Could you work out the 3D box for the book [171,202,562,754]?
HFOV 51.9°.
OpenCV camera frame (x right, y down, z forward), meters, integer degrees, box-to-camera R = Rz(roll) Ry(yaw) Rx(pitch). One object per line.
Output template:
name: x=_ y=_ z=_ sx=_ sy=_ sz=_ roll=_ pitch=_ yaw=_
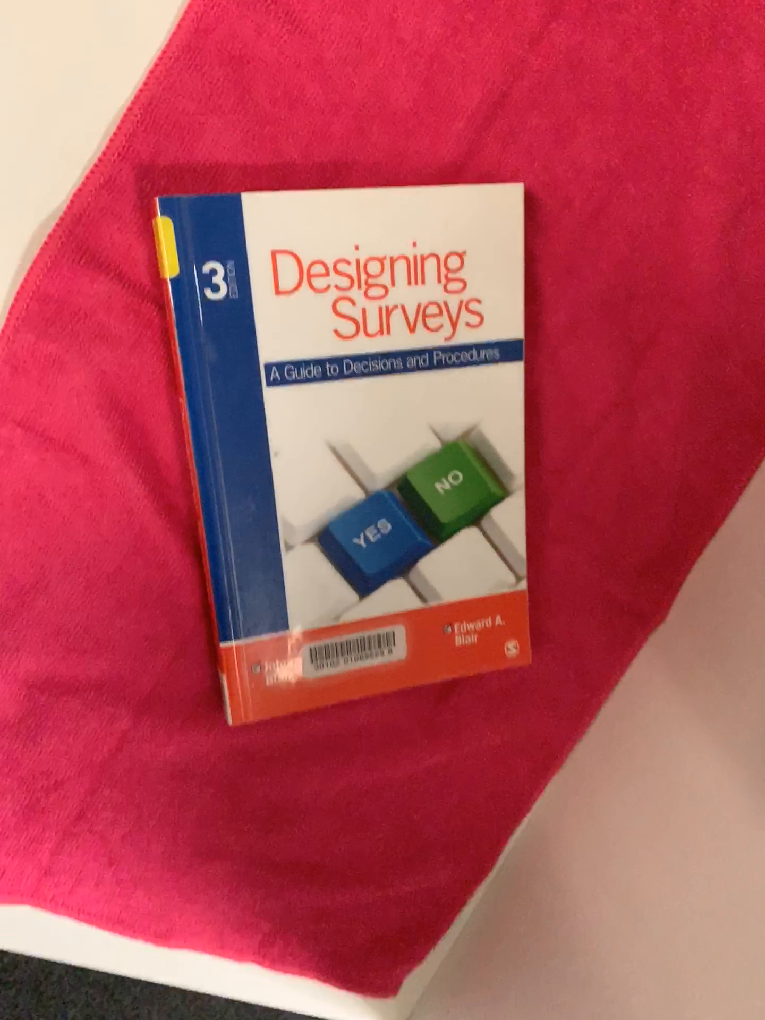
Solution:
book: x=0.003 y=-0.013 z=0.358 sx=0.160 sy=0.026 sz=0.230 roll=-9 pitch=109 yaw=-17
